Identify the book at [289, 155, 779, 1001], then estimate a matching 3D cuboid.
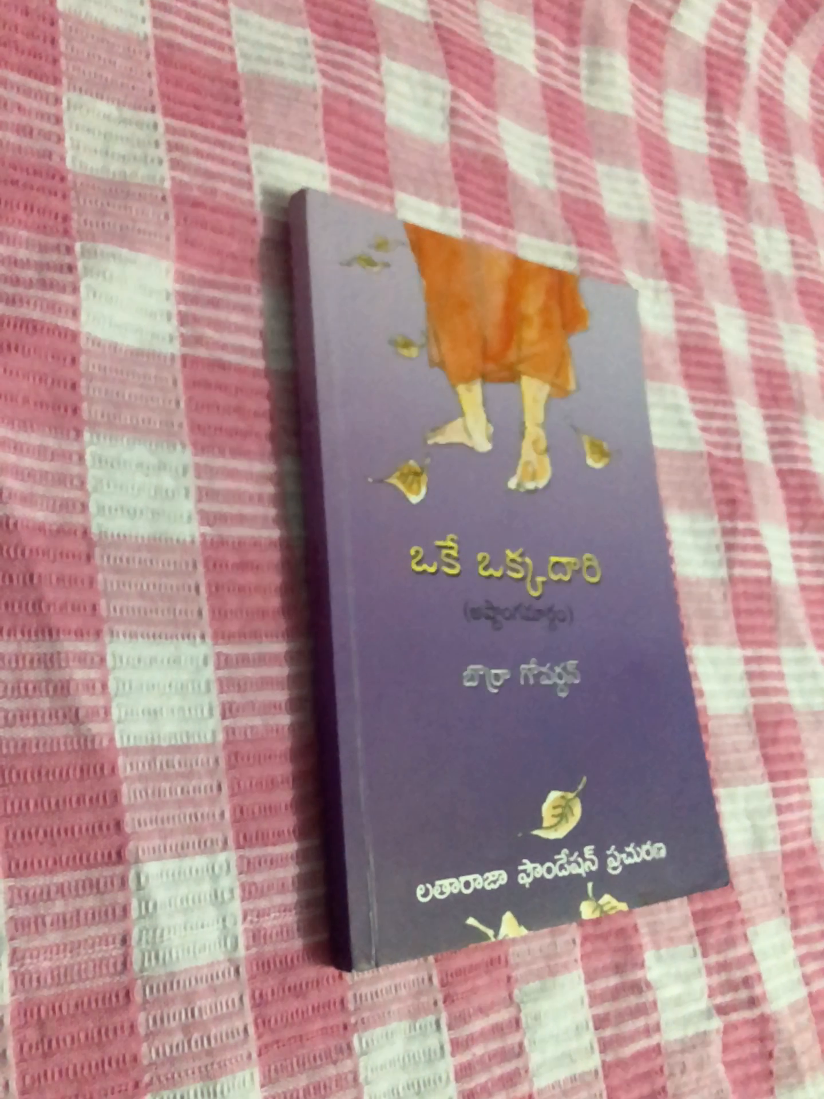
[{"bbox_3d":[0.040,0.004,0.277,0.151,0.020,0.210,5,74,-36],"label":"book"}]
